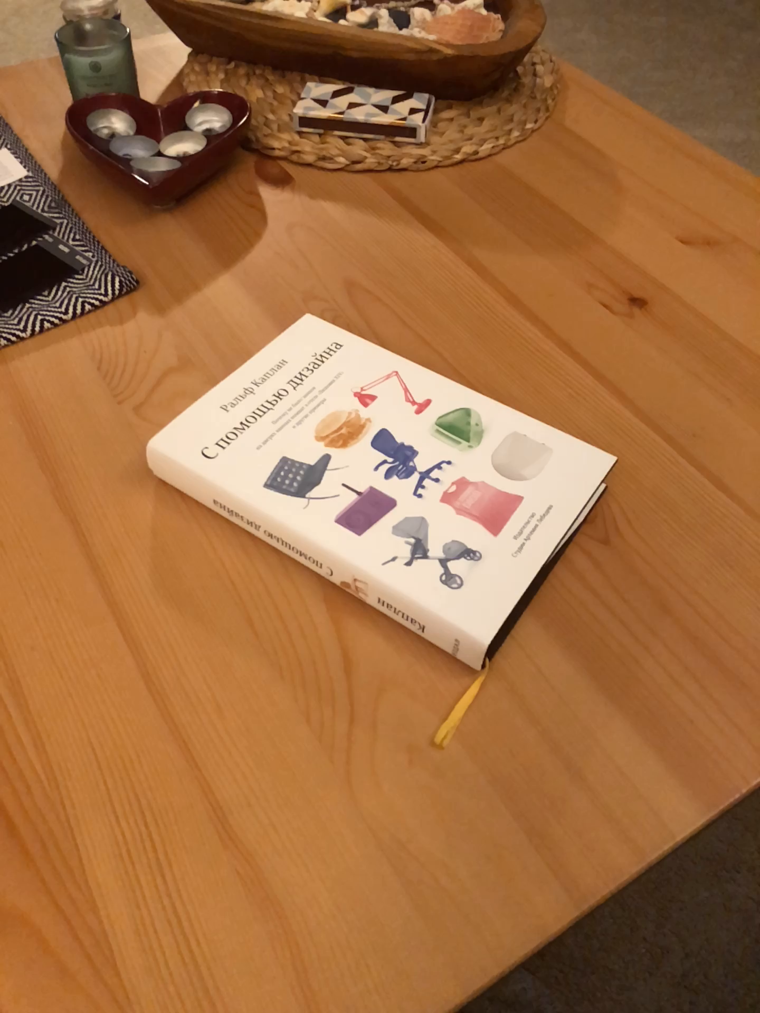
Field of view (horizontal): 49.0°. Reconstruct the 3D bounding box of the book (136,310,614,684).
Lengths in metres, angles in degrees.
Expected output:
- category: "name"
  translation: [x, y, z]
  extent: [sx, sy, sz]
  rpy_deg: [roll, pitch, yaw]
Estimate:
- category: "book"
  translation: [-0.003, -0.020, 0.488]
  extent: [0.226, 0.034, 0.153]
  rpy_deg: [29, 55, 20]
